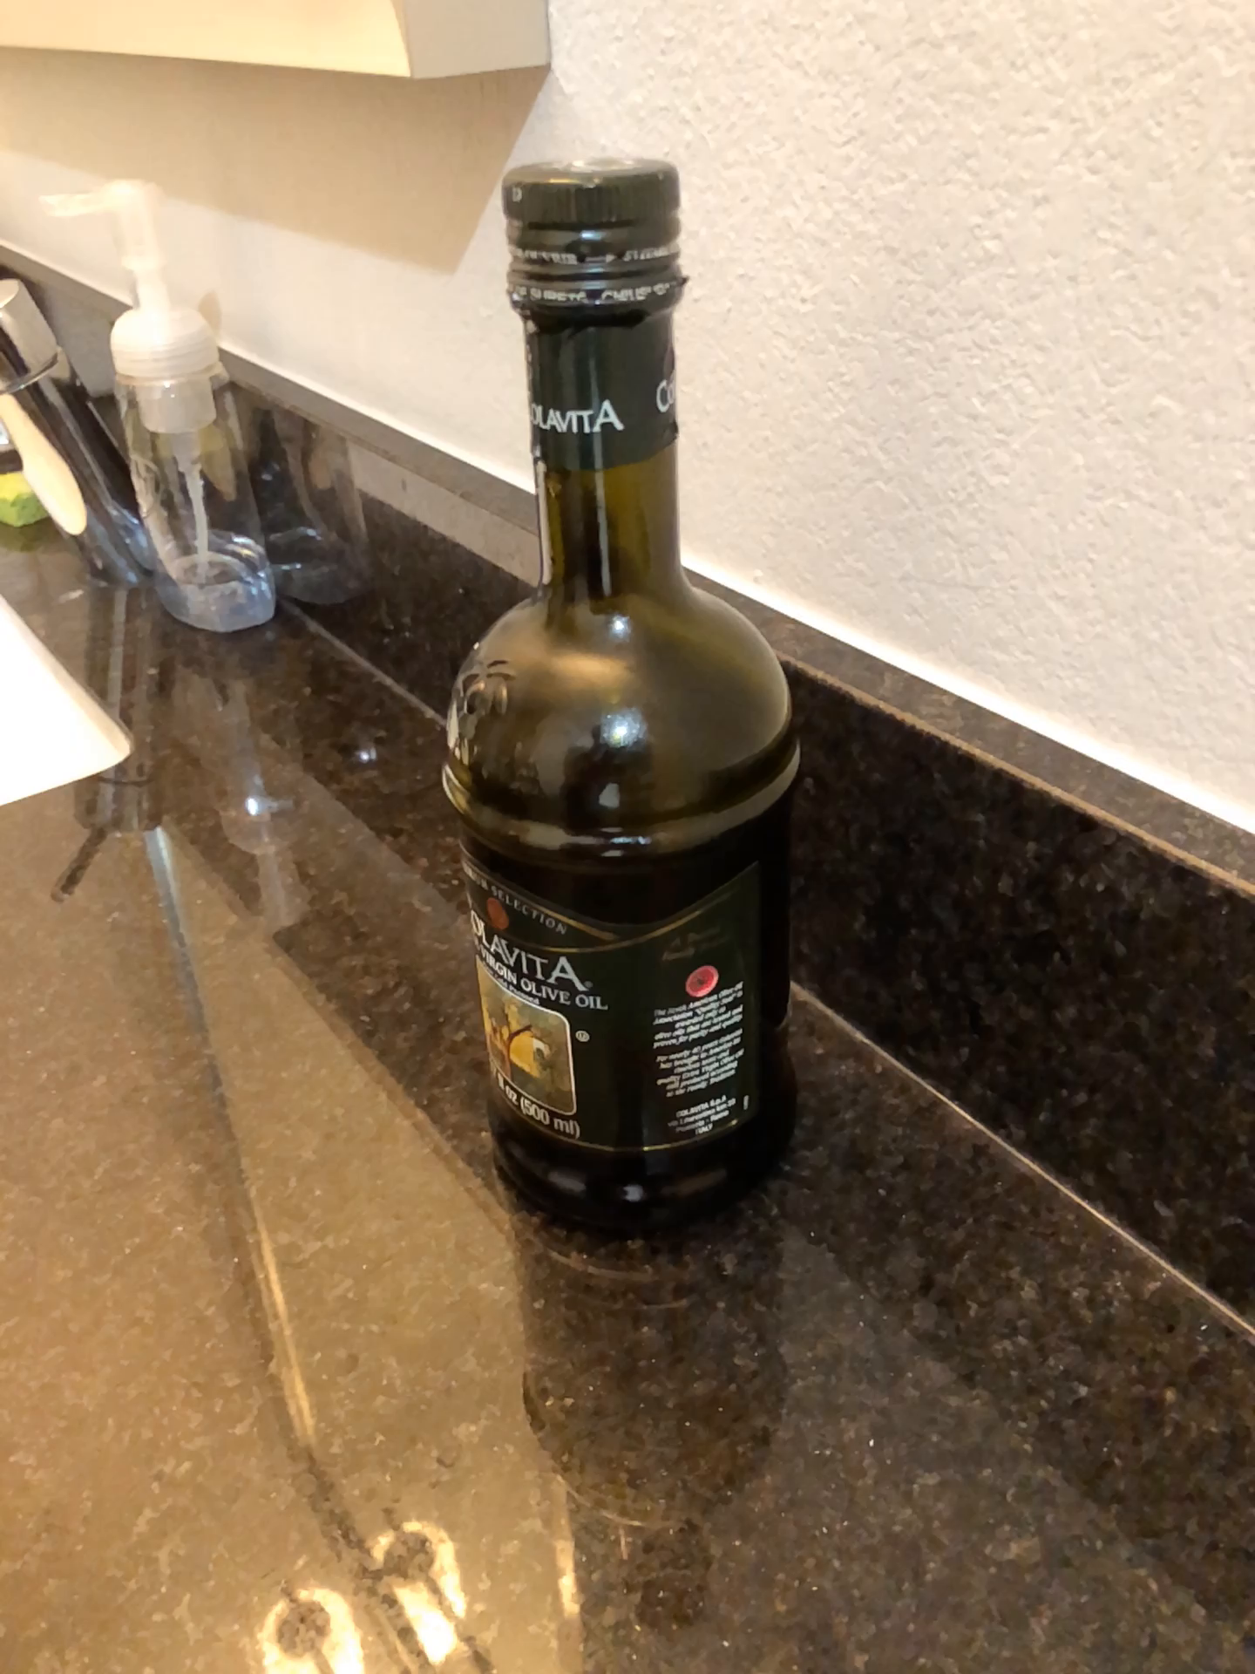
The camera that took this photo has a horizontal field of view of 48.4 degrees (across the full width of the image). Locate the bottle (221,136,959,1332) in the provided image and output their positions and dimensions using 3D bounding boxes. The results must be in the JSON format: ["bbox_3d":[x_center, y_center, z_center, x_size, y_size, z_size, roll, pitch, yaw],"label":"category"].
[{"bbox_3d":[-0.003,-0.020,0.297,0.090,0.219,0.090,-2,32,1],"label":"bottle"}]
